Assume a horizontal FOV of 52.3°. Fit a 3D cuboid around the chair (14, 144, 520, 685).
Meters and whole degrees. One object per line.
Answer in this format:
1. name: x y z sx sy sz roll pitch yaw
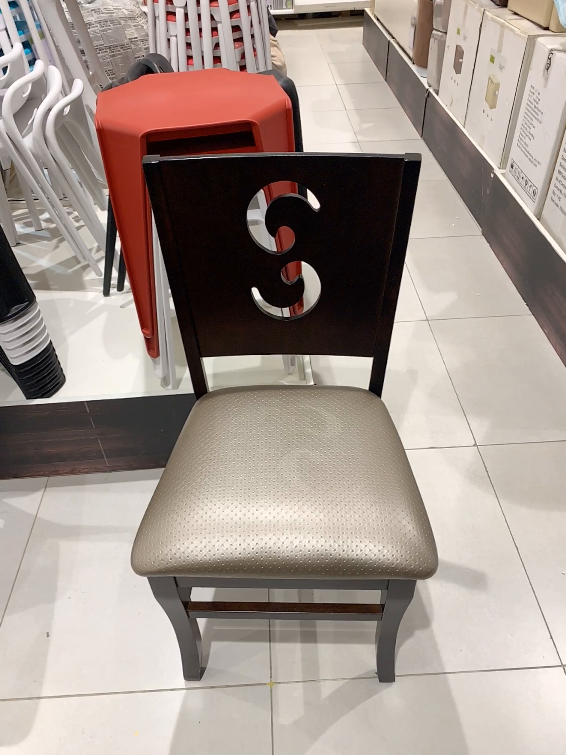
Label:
1. chair: -0.011 0.105 1.043 0.500 0.846 0.522 -1 41 1
